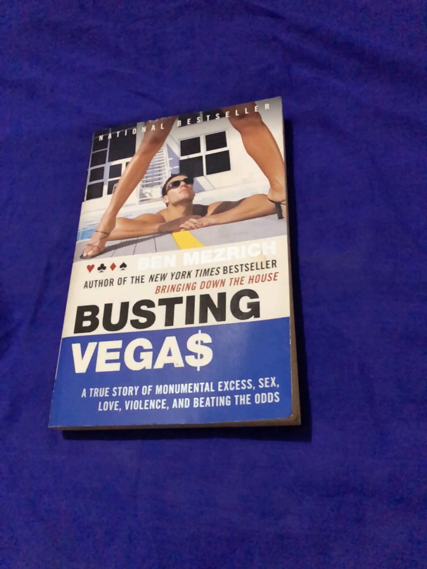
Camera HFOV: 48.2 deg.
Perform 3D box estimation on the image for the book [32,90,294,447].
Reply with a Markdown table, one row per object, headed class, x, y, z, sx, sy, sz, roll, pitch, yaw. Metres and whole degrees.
| class | x | y | z | sx | sy | sz | roll | pitch | yaw |
| --- | --- | --- | --- | --- | --- | --- | --- | --- | --- |
| book | -0.024 | -0.014 | 0.292 | 0.130 | 0.040 | 0.210 | -6 | 64 | 15 |
